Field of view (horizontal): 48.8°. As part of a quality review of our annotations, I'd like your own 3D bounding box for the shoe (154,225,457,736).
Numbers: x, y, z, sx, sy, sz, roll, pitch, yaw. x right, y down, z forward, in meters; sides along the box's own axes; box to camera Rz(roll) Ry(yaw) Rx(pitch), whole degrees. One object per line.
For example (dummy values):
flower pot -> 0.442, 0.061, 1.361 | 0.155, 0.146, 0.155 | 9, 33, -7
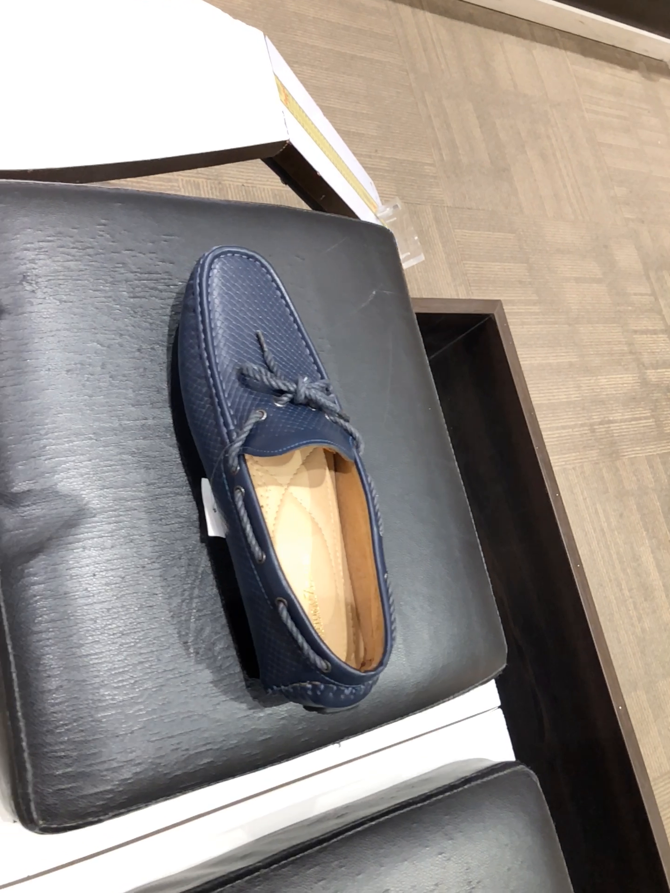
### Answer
shoe -> -0.025, 0.015, 0.434 | 0.100, 0.080, 0.270 | -5, 75, -31
